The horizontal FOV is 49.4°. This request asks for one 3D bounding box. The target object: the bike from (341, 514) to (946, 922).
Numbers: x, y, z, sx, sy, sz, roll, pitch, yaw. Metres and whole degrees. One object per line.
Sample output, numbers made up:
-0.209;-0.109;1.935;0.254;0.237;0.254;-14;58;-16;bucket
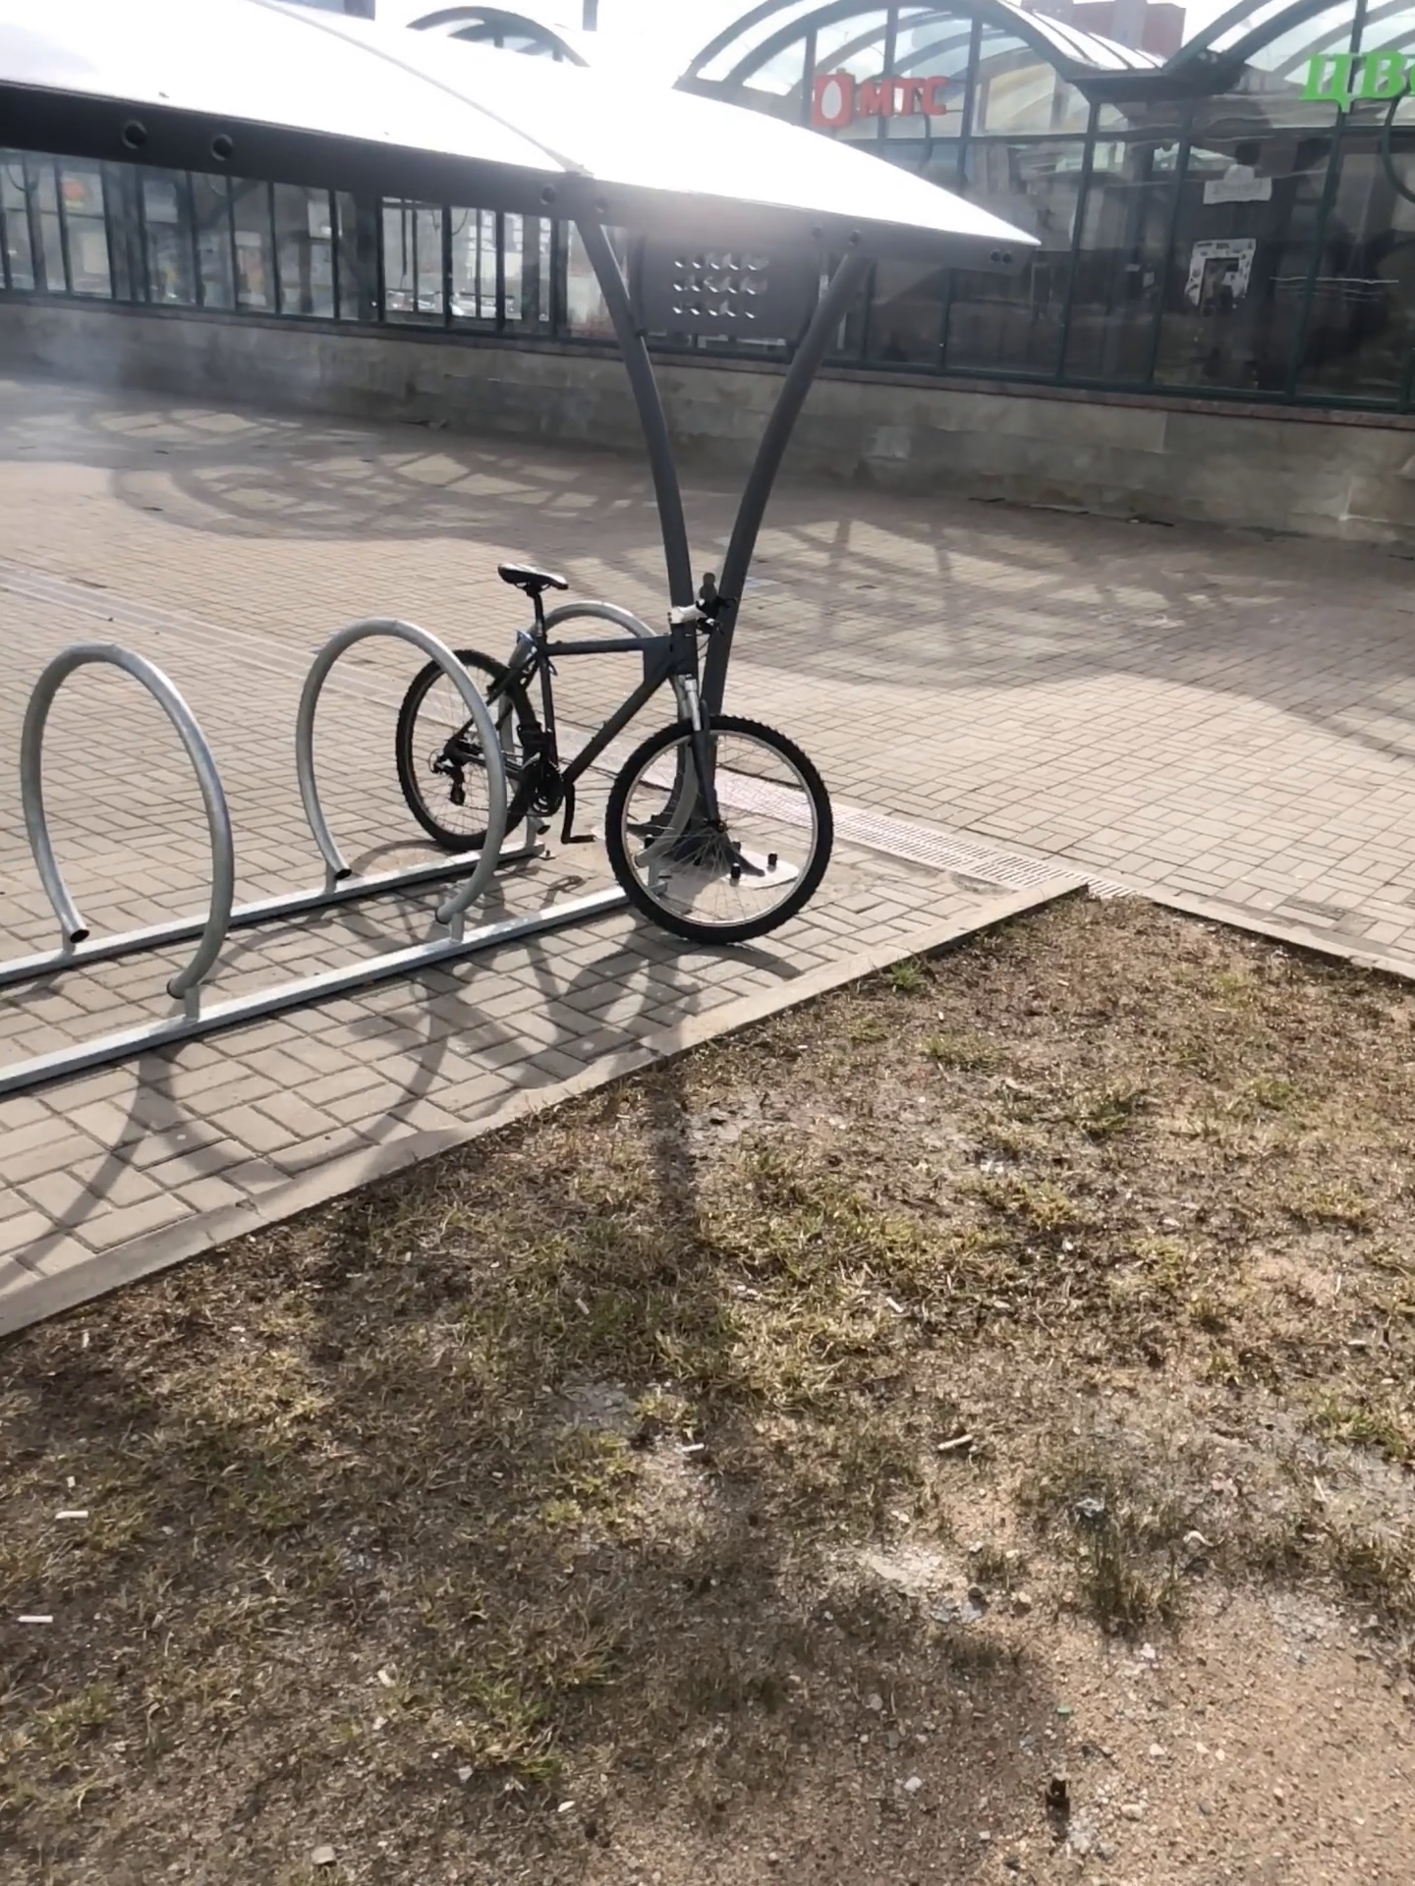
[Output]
-0.248;-0.740;4.707;1.611;0.980;0.563;14;24;28;bike
